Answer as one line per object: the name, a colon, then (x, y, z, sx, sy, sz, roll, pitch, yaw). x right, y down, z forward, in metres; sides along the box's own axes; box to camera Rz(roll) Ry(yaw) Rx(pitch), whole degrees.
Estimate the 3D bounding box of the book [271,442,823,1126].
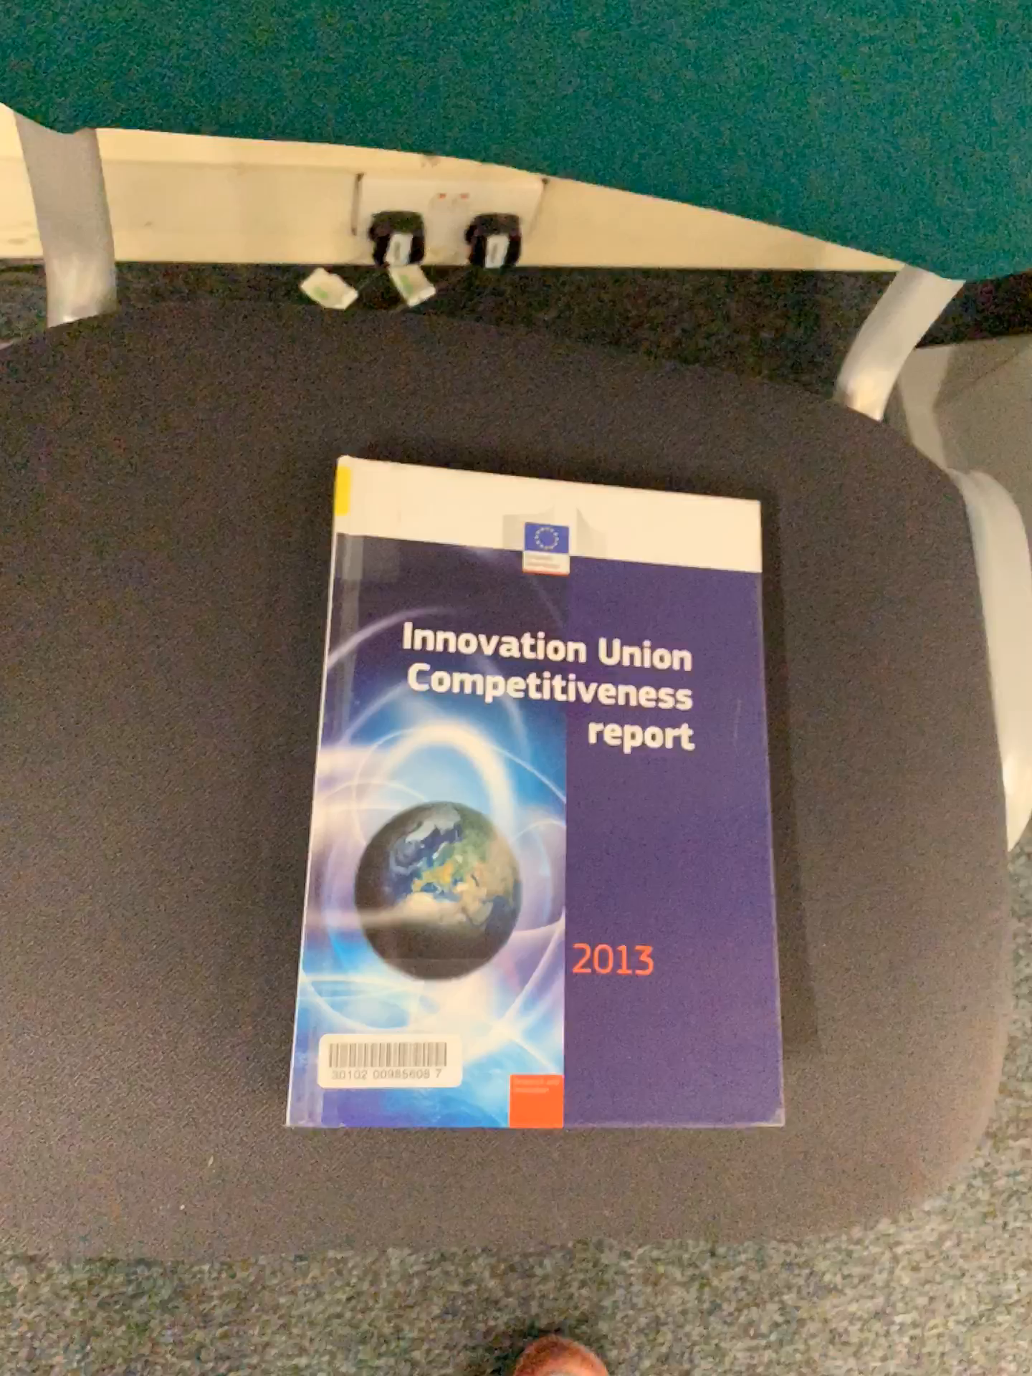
book: (0.017, 0.033, 0.414, 0.194, 0.026, 0.251, 4, 74, -8)
